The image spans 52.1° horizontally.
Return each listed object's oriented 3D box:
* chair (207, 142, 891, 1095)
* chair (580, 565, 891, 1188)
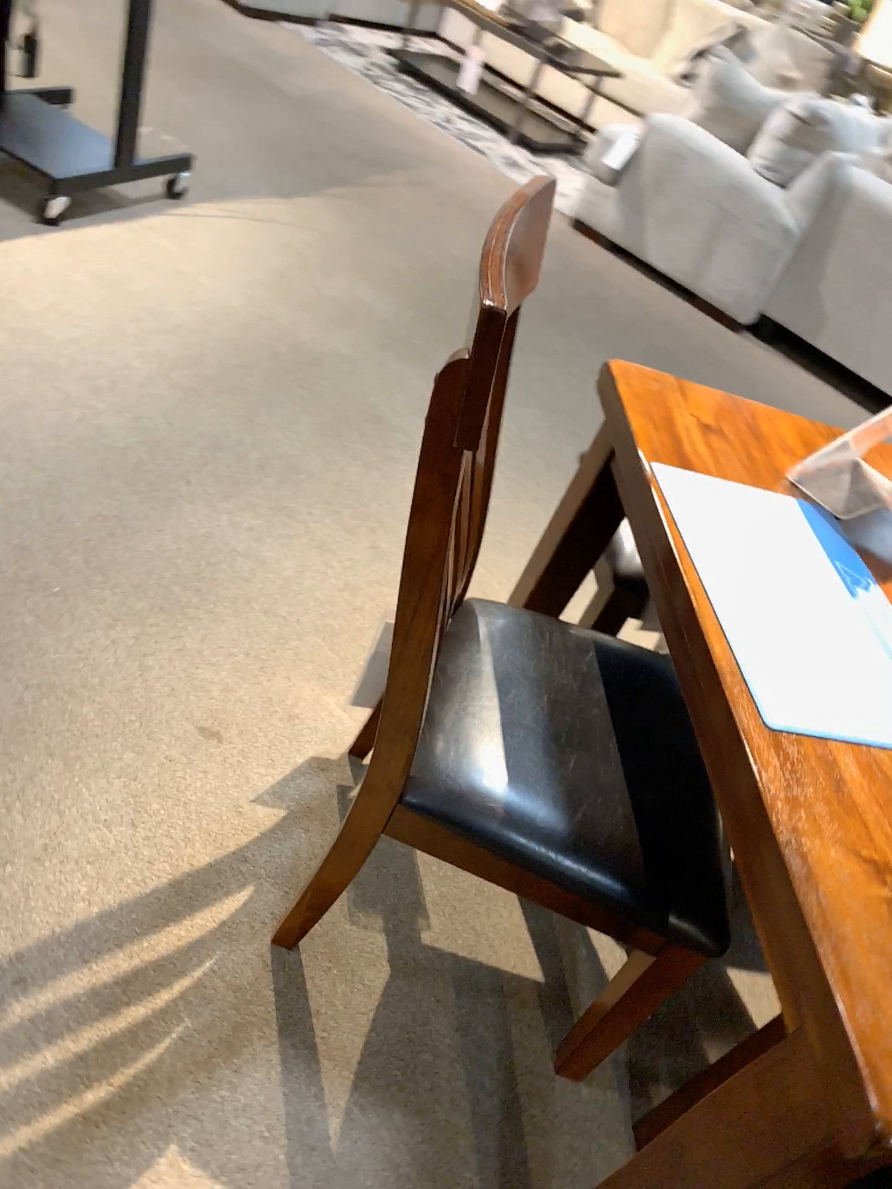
[{"bbox_3d":[0.146,0.068,1.105,0.539,0.890,0.534,23,38,-1],"label":"chair"},{"bbox_3d":[0.618,0.533,0.819,0.591,0.890,0.531,12,40,-15],"label":"chair"}]
